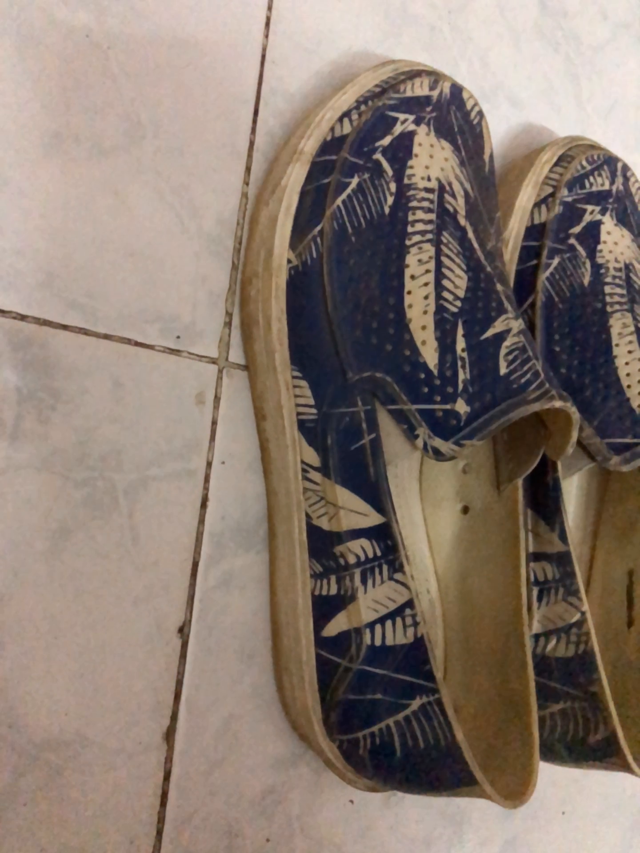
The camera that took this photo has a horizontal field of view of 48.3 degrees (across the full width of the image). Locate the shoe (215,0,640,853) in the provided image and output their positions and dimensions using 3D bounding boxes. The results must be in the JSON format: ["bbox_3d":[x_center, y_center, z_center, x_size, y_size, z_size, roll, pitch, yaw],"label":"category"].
[{"bbox_3d":[0.037,-0.019,0.263,0.110,0.100,0.310,4,83,-30],"label":"shoe"}]

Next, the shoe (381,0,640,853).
[{"bbox_3d":[0.121,0.001,0.308,0.110,0.100,0.300,14,78,-21],"label":"shoe"}]
